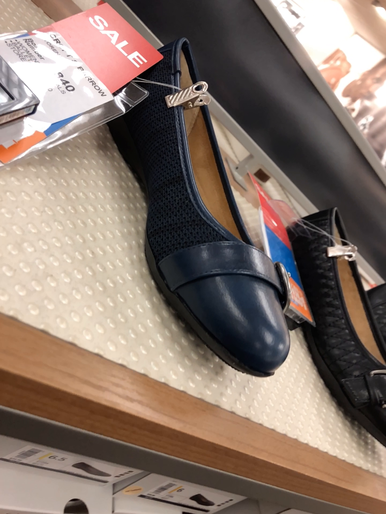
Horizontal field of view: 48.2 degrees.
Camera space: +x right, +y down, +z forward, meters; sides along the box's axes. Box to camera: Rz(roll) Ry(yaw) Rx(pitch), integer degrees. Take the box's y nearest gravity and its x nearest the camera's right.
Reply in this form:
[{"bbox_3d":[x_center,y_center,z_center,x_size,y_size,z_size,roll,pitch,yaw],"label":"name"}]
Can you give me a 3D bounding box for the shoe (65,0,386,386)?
[{"bbox_3d":[0.005,-0.064,0.287,0.088,0.081,0.279,21,38,-51],"label":"shoe"}]
